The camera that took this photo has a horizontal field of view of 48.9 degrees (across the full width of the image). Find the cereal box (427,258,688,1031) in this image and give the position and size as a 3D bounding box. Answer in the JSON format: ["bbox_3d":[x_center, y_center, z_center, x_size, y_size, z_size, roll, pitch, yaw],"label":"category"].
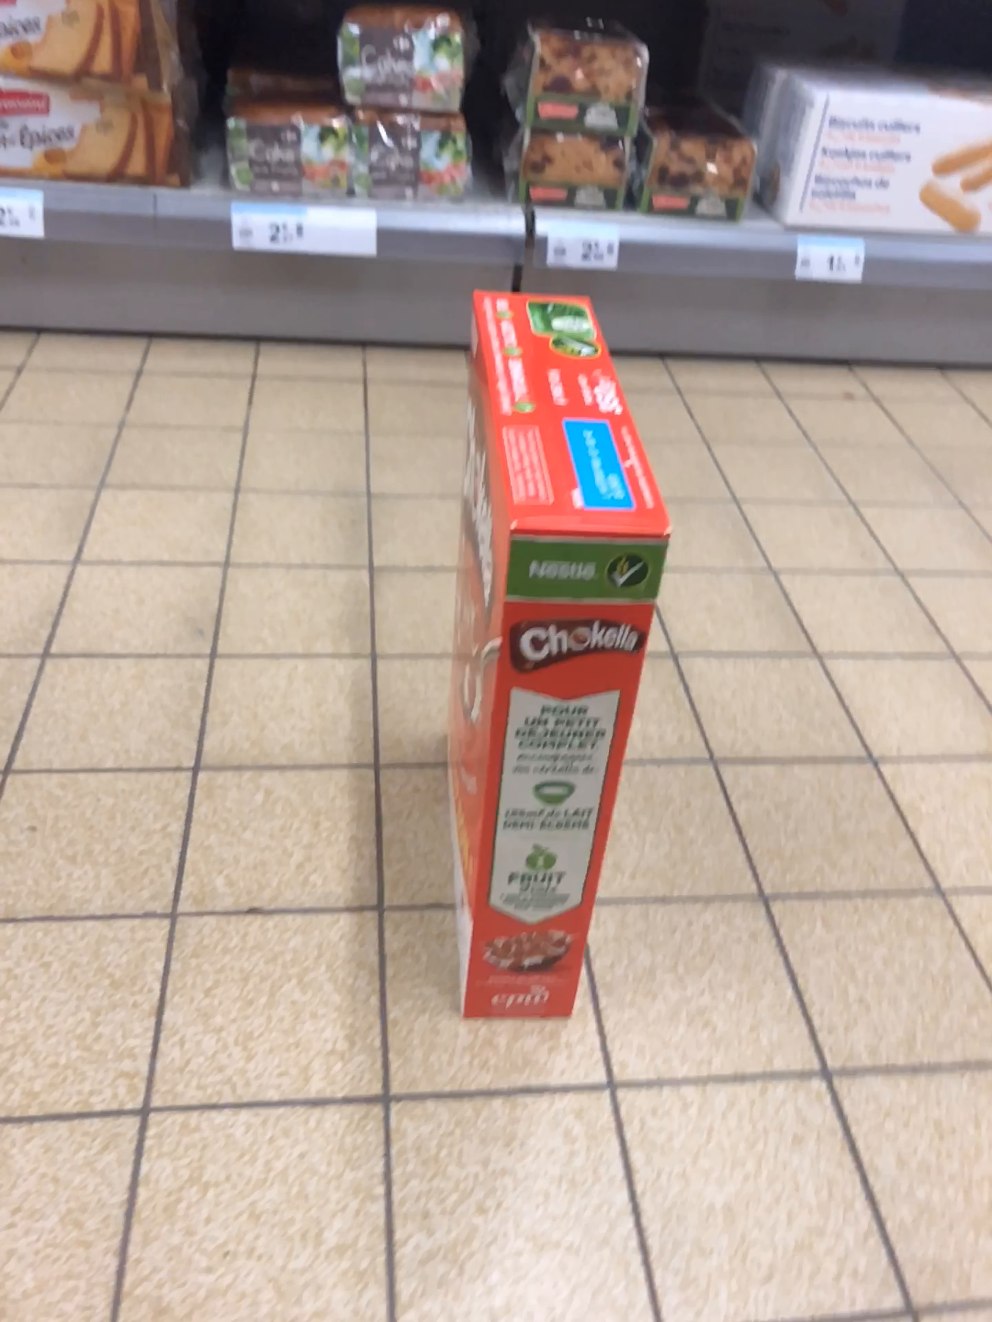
[{"bbox_3d":[0.008,-0.004,0.489,0.060,0.278,0.201,1,39,-6],"label":"cereal box"}]
